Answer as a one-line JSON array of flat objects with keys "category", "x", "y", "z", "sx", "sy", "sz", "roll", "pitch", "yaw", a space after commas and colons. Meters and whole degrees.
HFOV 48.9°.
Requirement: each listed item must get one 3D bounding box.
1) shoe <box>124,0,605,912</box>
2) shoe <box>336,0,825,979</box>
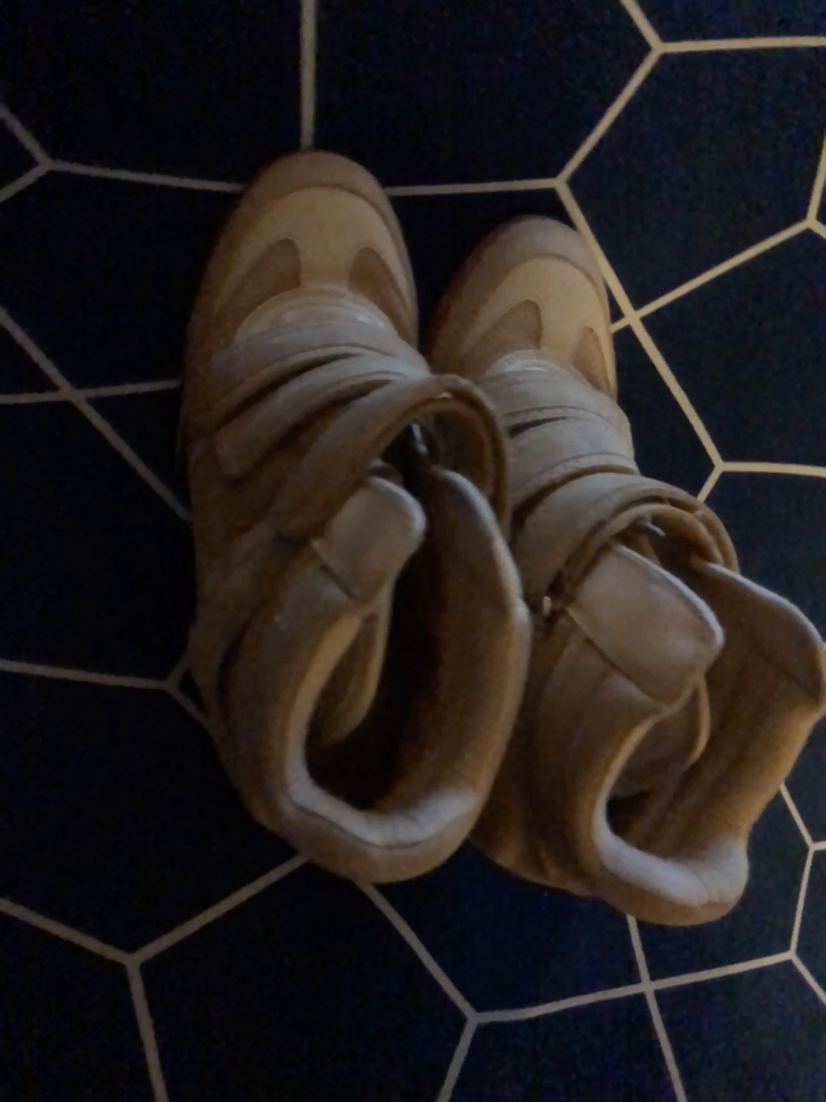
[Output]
[{"category": "shoe", "x": -0.024, "y": -0.039, "z": 0.290, "sx": 0.100, "sy": 0.140, "sz": 0.260, "roll": 5, "pitch": 78, "yaw": -22}, {"category": "shoe", "x": 0.053, "y": -0.022, "z": 0.312, "sx": 0.100, "sy": 0.130, "sz": 0.280, "roll": 9, "pitch": 77, "yaw": -21}]
